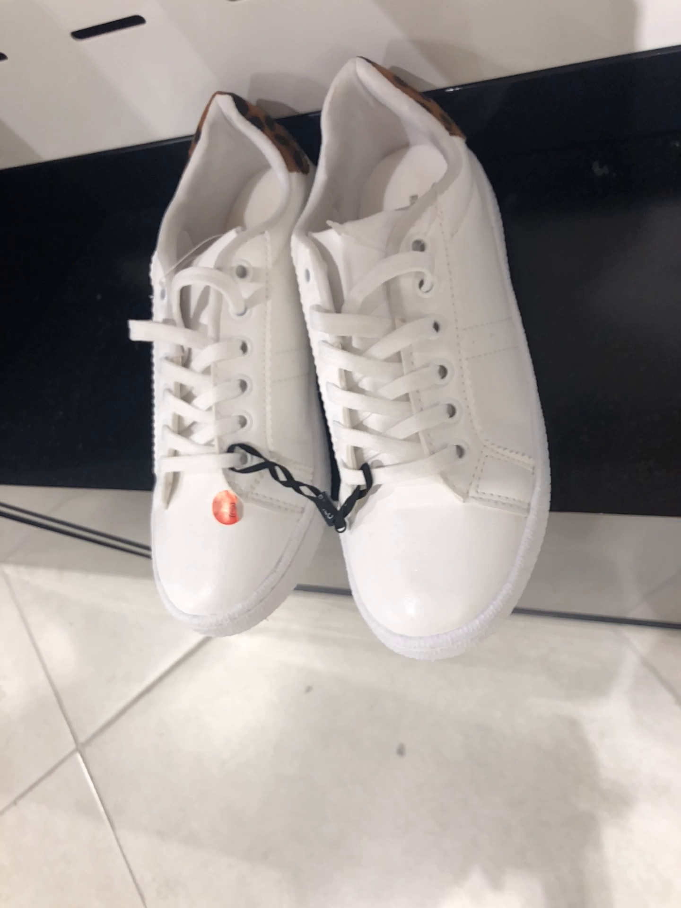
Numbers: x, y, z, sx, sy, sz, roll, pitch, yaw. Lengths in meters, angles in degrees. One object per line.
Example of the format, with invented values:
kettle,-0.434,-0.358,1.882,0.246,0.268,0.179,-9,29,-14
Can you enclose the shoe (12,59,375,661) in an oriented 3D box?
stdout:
shoe,-0.051,-0.030,0.326,0.090,0.100,0.220,-2,76,24

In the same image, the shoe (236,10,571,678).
shoe,0.026,-0.030,0.295,0.090,0.100,0.220,-7,74,22
